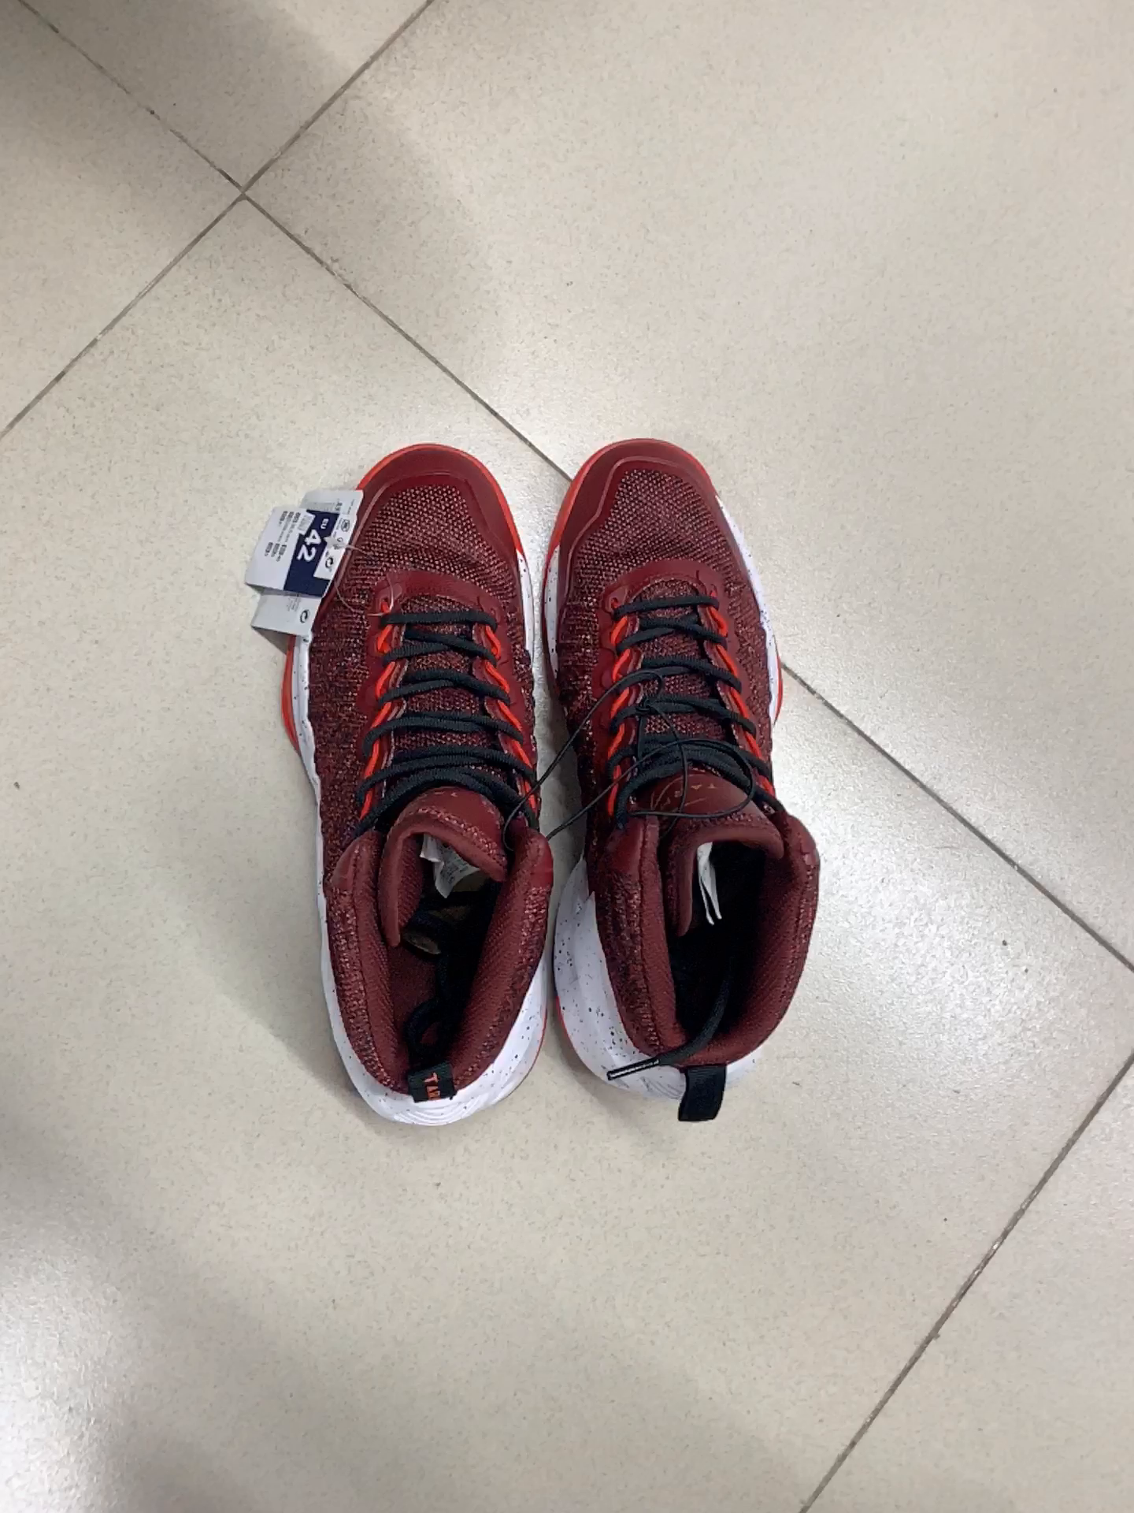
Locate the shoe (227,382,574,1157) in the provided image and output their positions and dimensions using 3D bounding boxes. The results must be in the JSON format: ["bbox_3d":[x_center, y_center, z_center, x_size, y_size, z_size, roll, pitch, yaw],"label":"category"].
[{"bbox_3d":[-0.065,0.004,0.477,0.120,0.110,0.280,-1,86,-4],"label":"shoe"}]

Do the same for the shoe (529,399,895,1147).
[{"bbox_3d":[0.050,0.006,0.478,0.120,0.110,0.270,-1,86,-4],"label":"shoe"}]
